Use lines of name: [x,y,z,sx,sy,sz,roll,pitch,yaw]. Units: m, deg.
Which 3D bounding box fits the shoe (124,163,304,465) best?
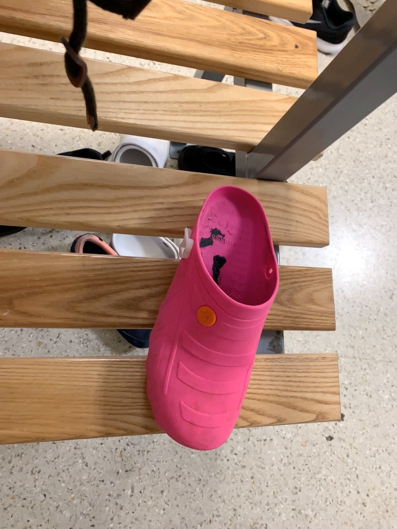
shoe: [0.015,0.039,0.353,0.096,0.068,0.221,16,75,-12]
